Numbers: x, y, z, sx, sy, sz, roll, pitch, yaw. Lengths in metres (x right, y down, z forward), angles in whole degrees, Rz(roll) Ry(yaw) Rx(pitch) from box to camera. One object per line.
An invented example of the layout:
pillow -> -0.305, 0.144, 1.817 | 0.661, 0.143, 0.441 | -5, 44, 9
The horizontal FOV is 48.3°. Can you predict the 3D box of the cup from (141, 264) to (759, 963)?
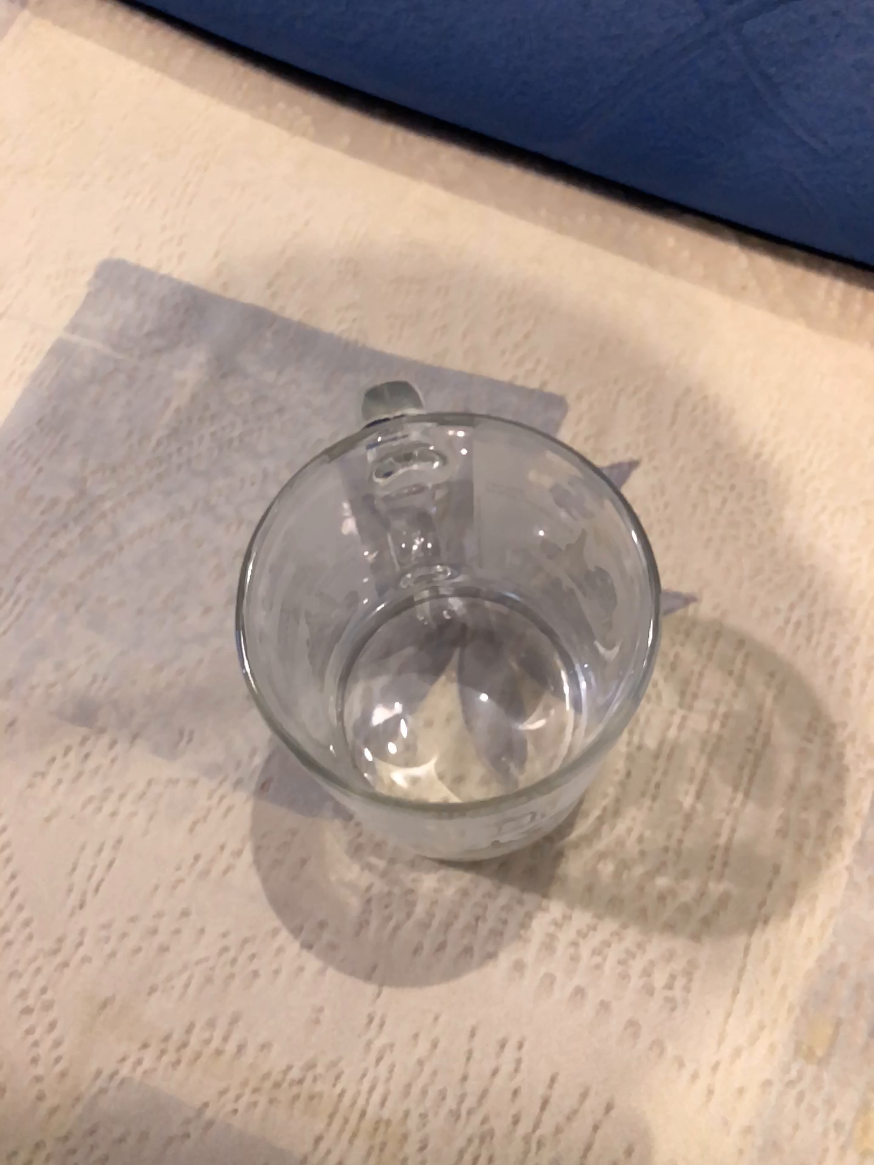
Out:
cup -> -0.002, 0.011, 0.220 | 0.090, 0.080, 0.120 | -13, 69, -4
